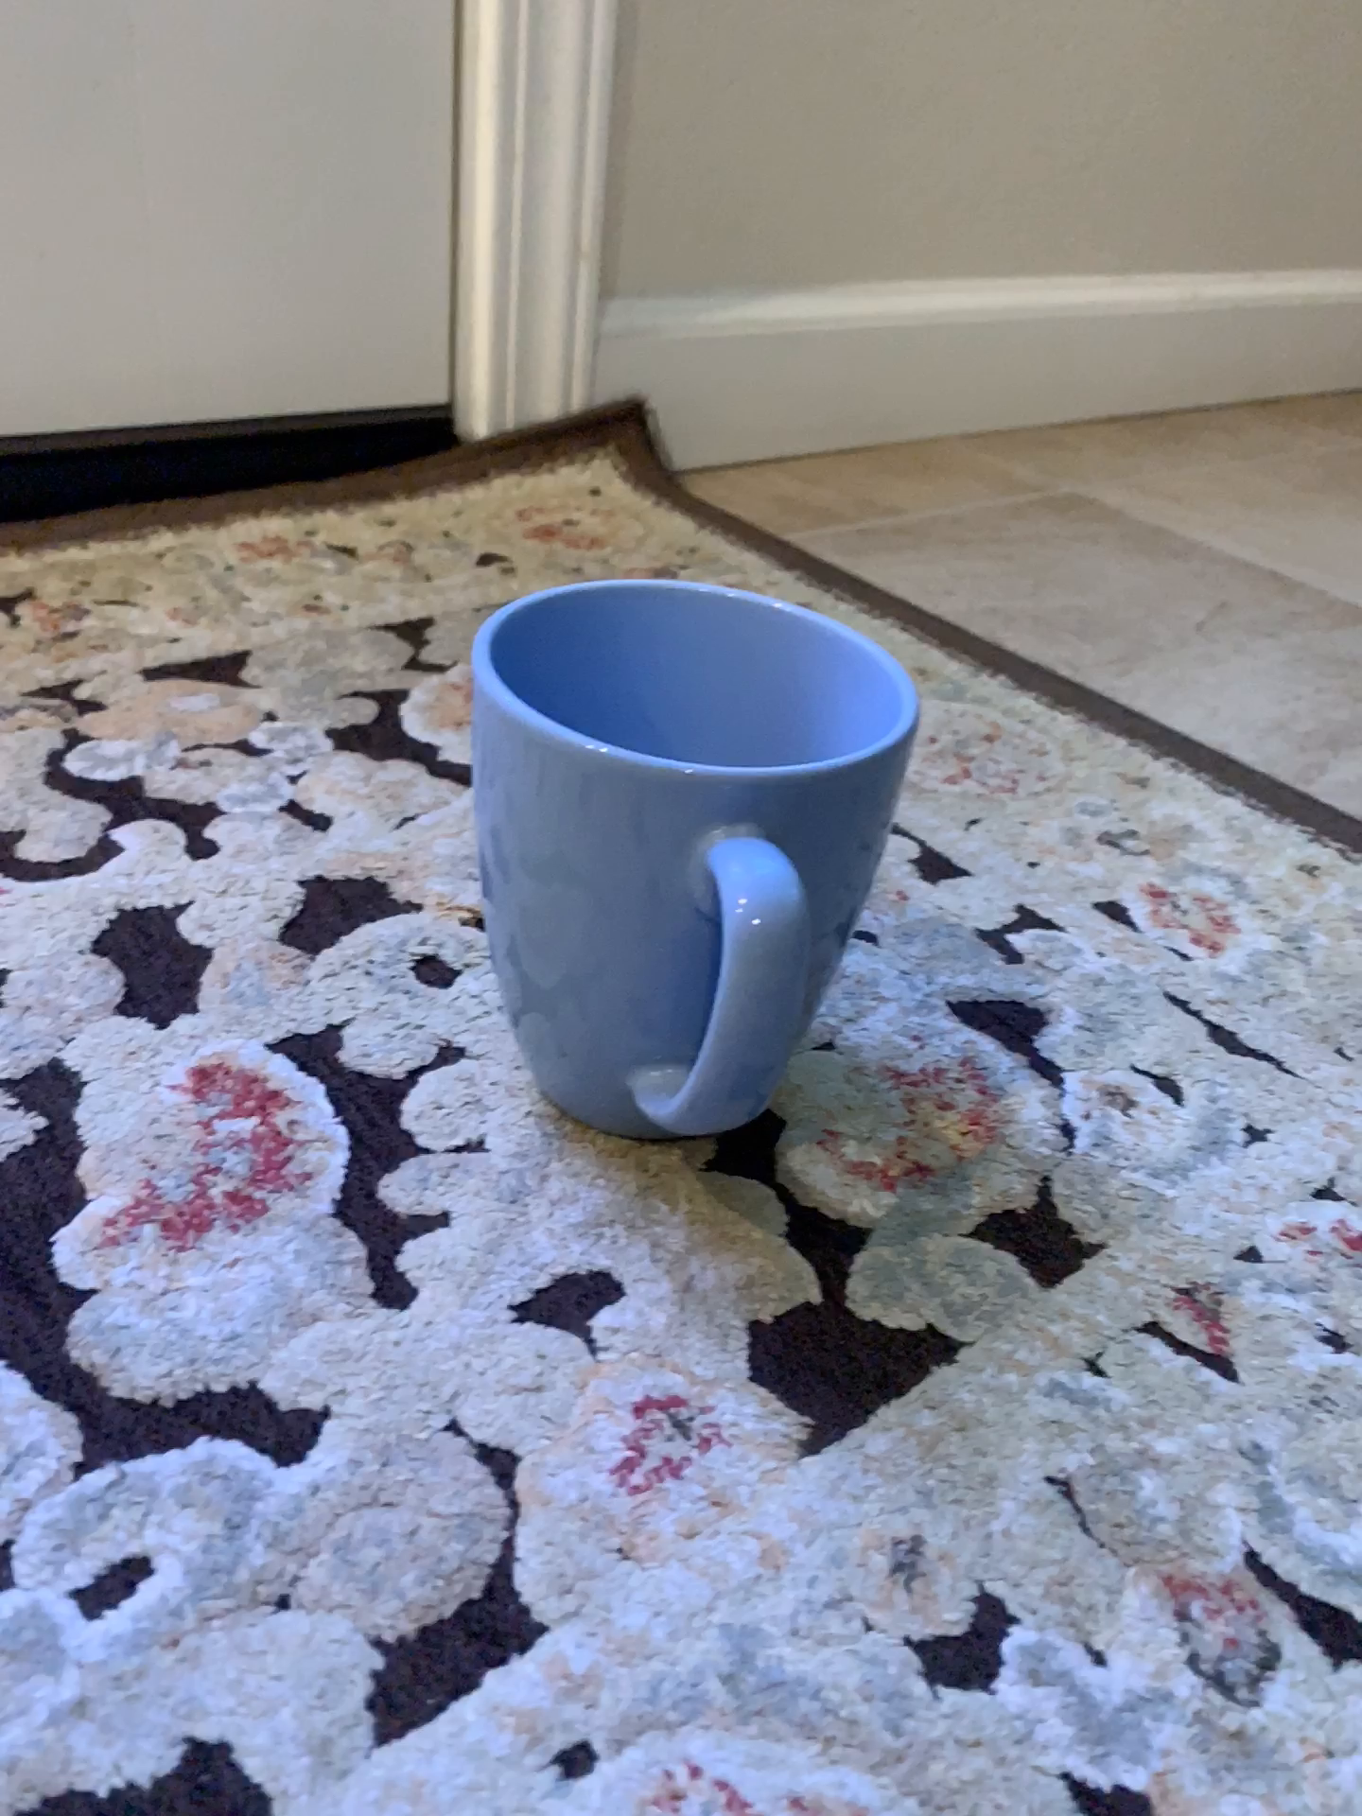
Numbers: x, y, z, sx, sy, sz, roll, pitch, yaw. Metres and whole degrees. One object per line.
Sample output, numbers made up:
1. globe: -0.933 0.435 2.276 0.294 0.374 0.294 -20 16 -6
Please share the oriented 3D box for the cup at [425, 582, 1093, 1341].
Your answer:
1. cup: 0.001 0.001 0.278 0.090 0.089 0.121 -3 34 -15
